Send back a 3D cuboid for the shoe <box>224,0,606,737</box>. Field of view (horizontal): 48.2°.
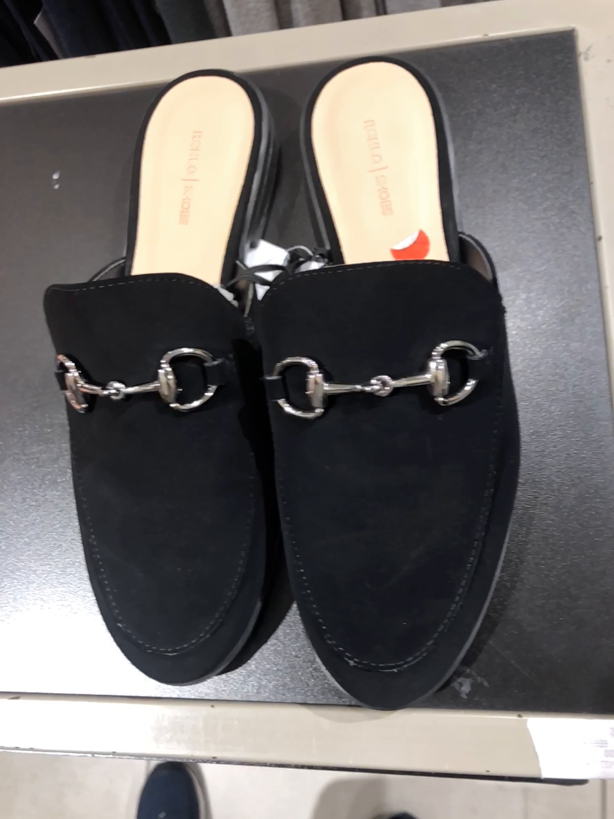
[{"bbox_3d":[0.027,-0.019,0.228,0.090,0.070,0.220,-5,75,10],"label":"shoe"}]

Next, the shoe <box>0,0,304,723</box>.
[{"bbox_3d":[-0.054,-0.016,0.250,0.090,0.080,0.220,-2,81,11],"label":"shoe"}]
